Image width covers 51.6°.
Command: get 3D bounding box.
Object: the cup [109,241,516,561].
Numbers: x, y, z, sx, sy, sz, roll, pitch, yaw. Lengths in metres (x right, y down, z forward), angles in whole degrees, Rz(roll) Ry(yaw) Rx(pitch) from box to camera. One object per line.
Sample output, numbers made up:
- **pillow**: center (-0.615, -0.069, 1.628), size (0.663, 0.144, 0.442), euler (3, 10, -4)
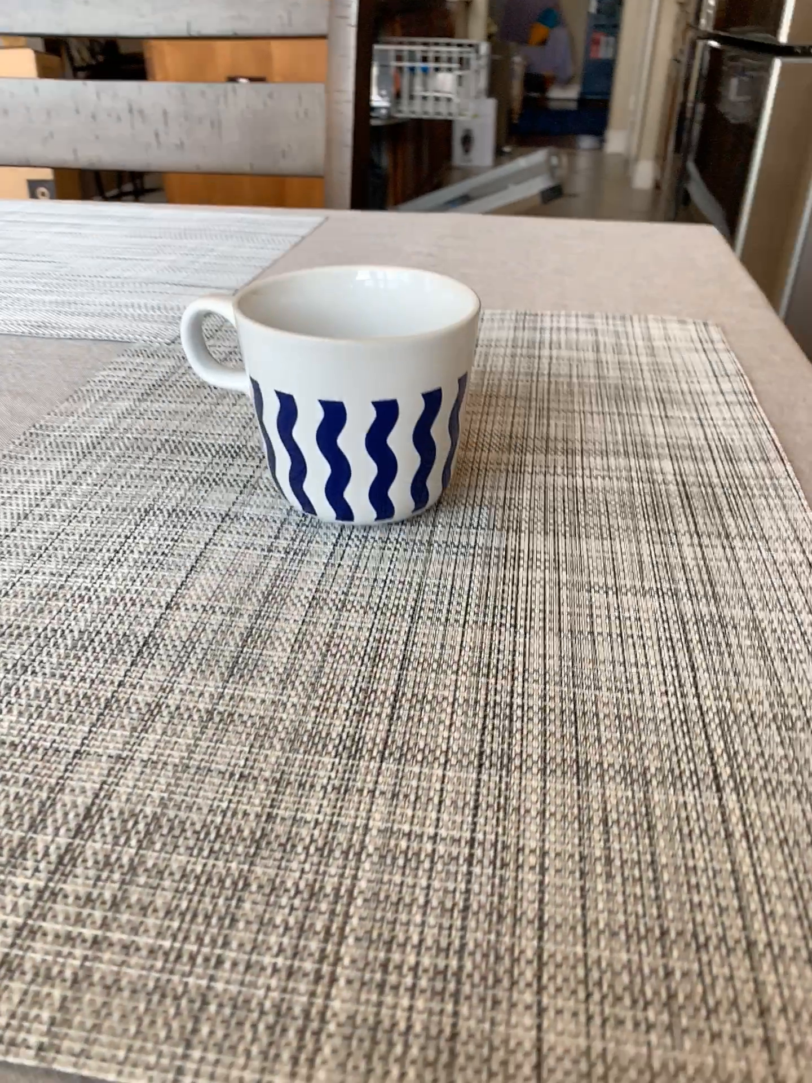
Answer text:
- **cup**: center (-0.029, -0.058, 0.310), size (0.112, 0.072, 0.087), euler (14, 35, 21)
